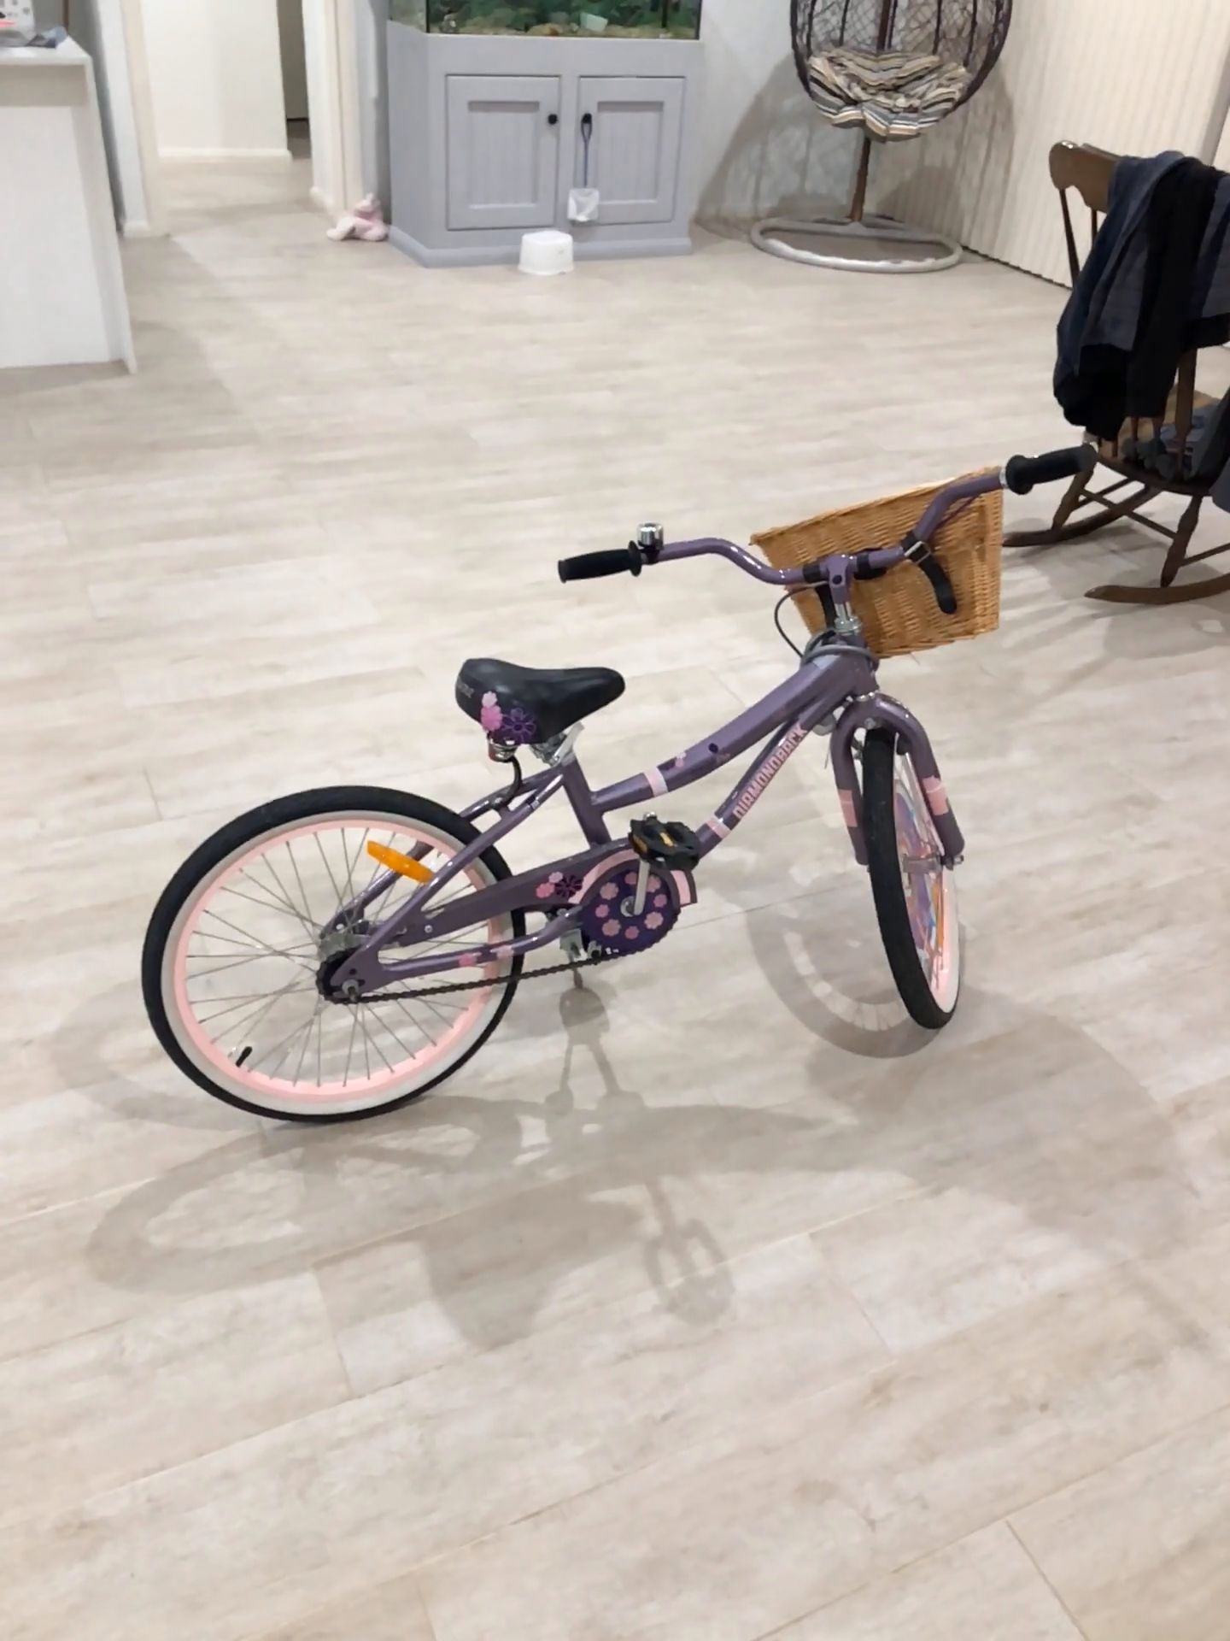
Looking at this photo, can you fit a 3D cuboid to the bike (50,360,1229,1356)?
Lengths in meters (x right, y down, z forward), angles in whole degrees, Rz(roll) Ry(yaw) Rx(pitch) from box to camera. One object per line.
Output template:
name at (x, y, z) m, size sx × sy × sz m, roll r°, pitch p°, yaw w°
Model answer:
bike at (0.021, -0.044, 1.810) m, size 1.216 × 0.877 × 0.750 m, roll -10°, pitch 37°, yaw -27°
